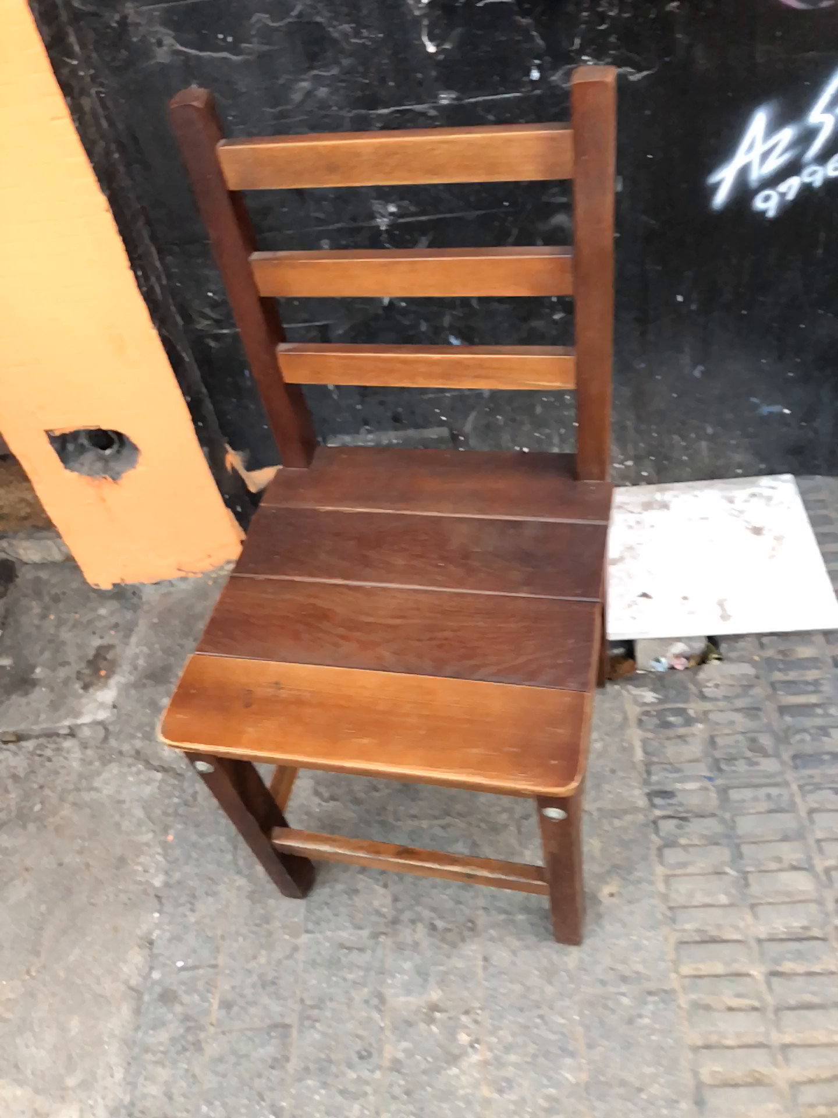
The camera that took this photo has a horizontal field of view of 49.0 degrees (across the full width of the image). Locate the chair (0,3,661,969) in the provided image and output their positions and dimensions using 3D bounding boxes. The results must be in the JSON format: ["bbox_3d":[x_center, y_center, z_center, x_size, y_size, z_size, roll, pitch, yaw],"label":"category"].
[{"bbox_3d":[-0.005,-0.013,1.017,0.460,0.894,0.503,4,47,15],"label":"chair"}]
